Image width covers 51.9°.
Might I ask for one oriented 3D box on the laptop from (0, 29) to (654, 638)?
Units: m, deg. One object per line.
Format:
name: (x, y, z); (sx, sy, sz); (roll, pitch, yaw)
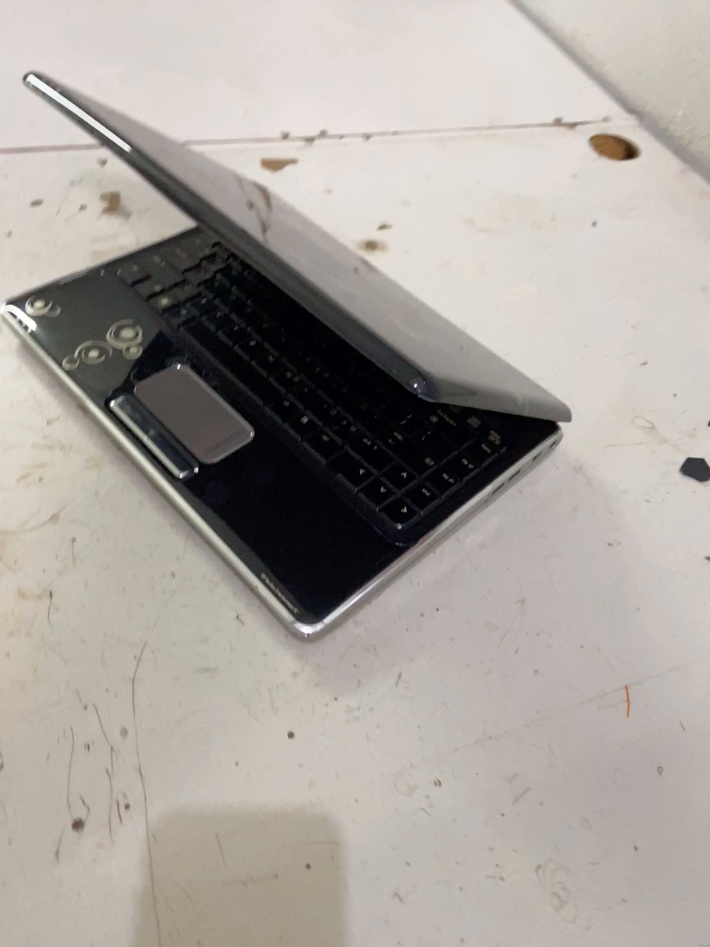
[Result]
laptop: (-0.044, -0.115, 0.452); (0.232, 0.137, 0.328); (-34, 63, -28)
